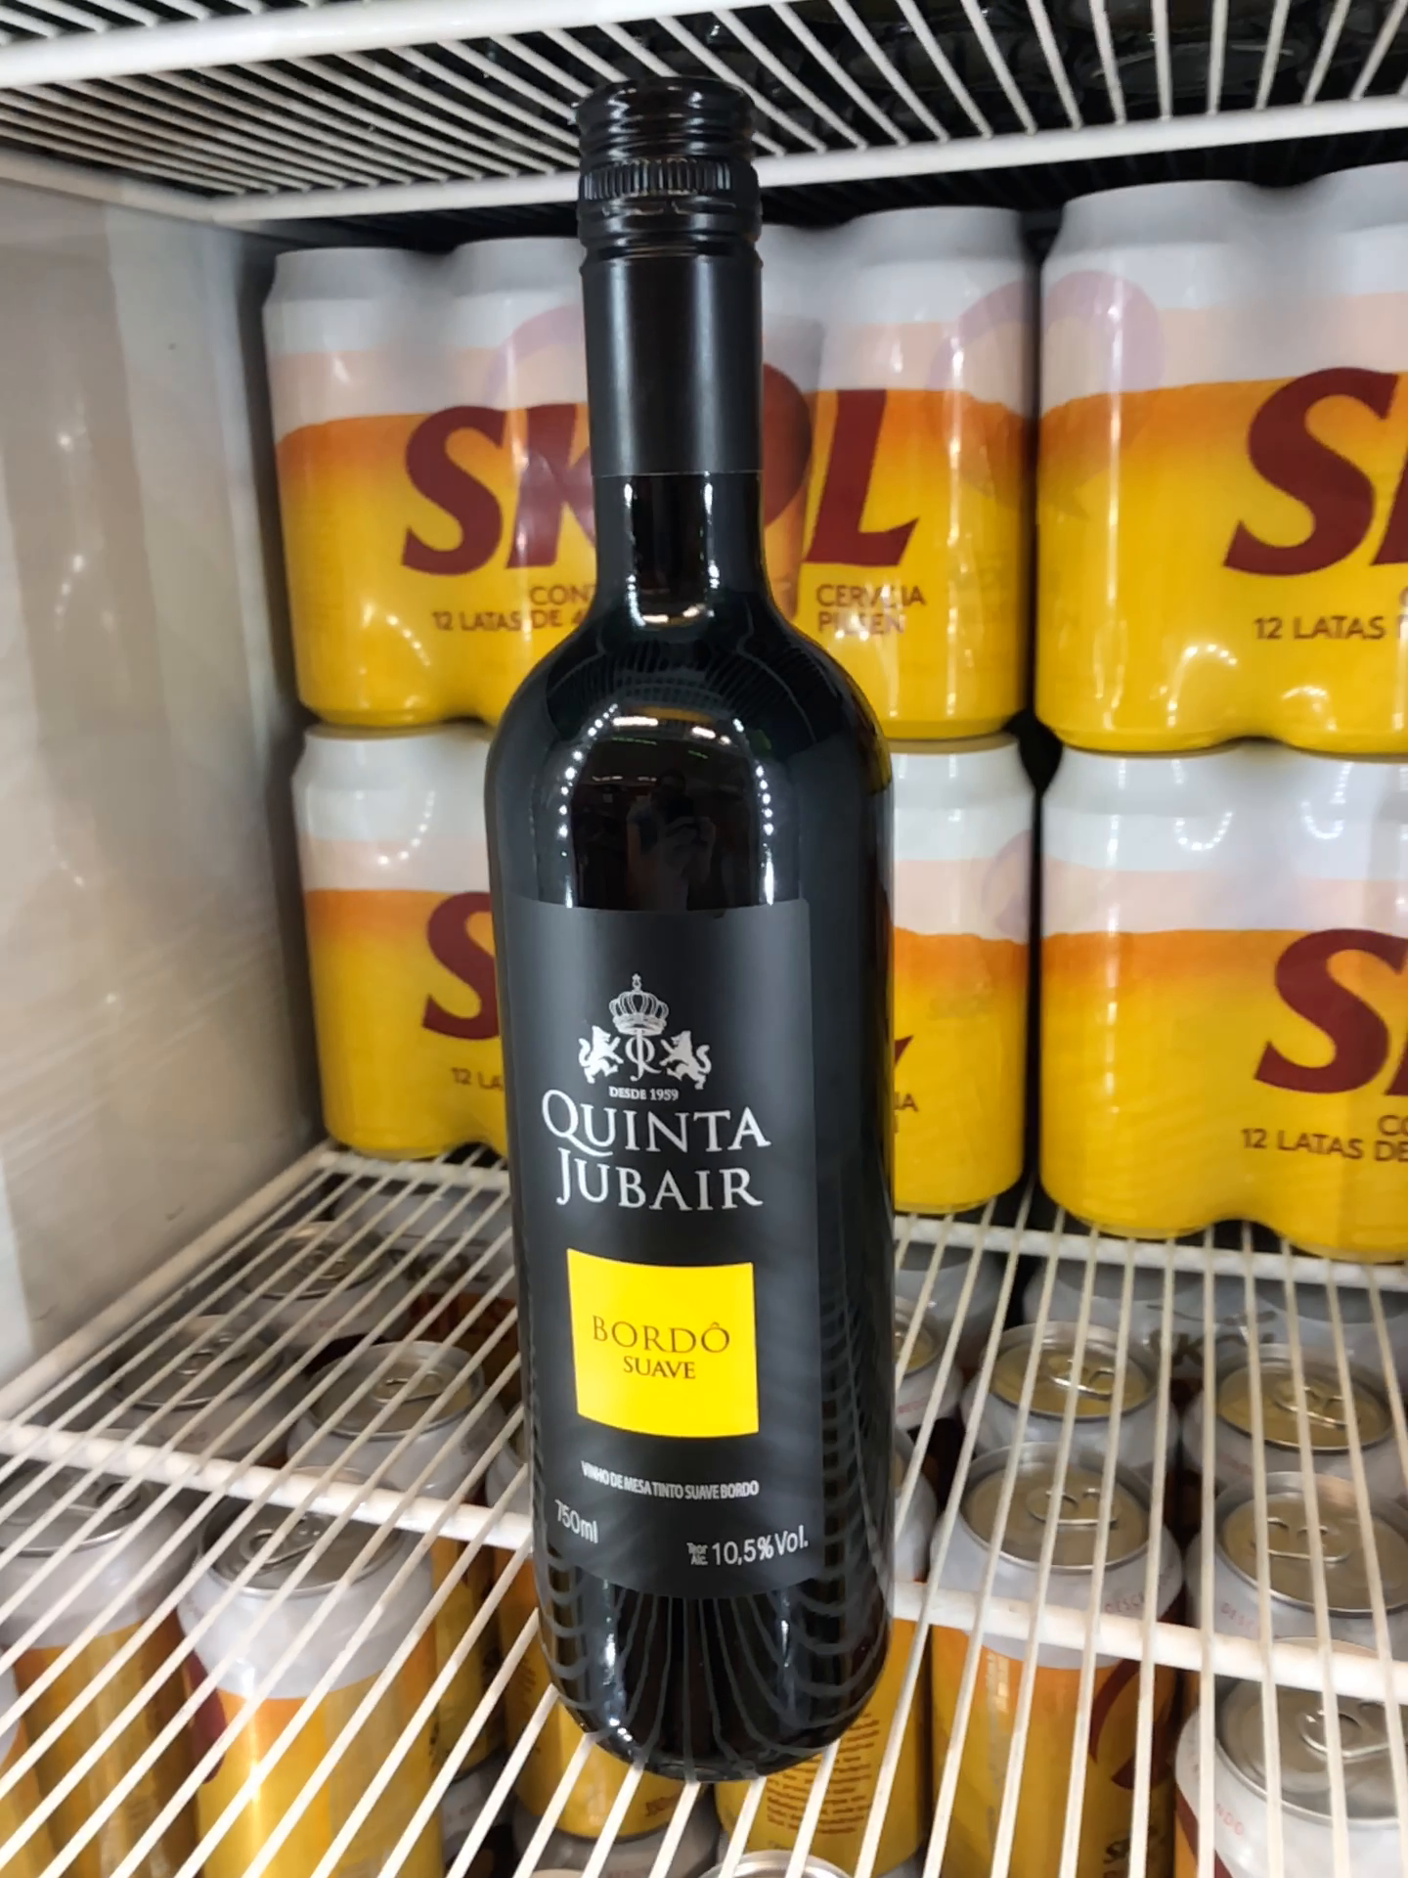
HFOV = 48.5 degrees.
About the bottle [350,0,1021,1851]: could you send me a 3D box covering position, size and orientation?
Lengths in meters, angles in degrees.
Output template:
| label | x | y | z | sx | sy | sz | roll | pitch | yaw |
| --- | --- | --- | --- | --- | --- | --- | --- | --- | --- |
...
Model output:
| label | x | y | z | sx | sy | sz | roll | pitch | yaw |
| --- | --- | --- | --- | --- | --- | --- | --- | --- | --- |
| bottle | 0.008 | 0.002 | 0.268 | 0.080 | 0.288 | 0.070 | 3 | 17 | 18 |
